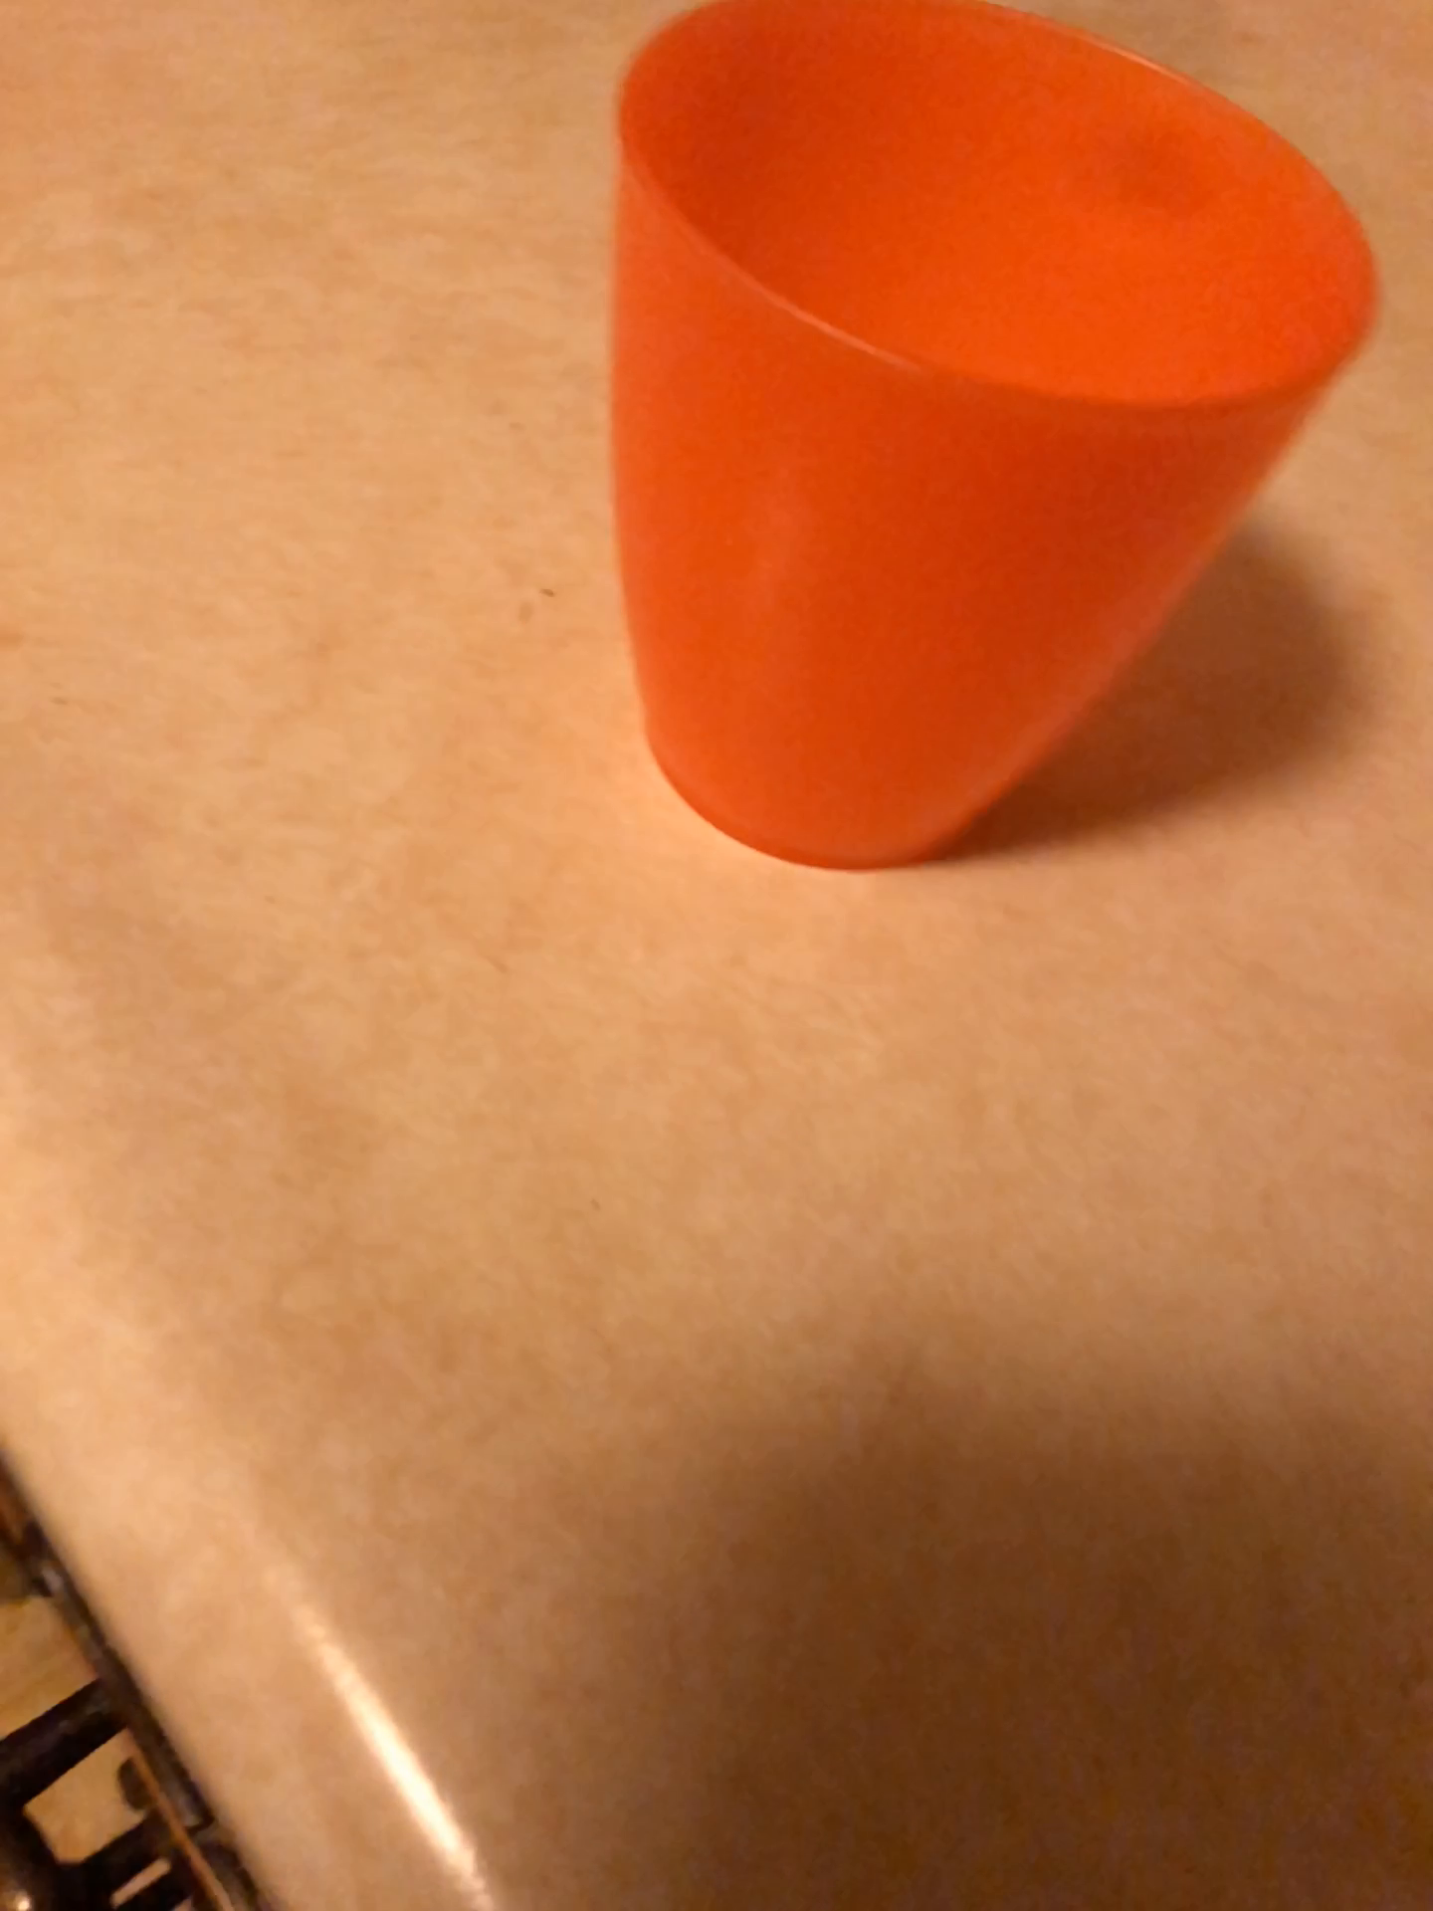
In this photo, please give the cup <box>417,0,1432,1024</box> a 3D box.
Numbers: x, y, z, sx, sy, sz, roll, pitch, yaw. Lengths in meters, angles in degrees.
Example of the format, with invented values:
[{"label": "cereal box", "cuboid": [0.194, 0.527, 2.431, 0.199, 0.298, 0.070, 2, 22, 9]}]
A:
[{"label": "cup", "cuboid": [0.023, -0.058, 0.187, 0.080, 0.070, 0.080, 6, 52, -8]}]
